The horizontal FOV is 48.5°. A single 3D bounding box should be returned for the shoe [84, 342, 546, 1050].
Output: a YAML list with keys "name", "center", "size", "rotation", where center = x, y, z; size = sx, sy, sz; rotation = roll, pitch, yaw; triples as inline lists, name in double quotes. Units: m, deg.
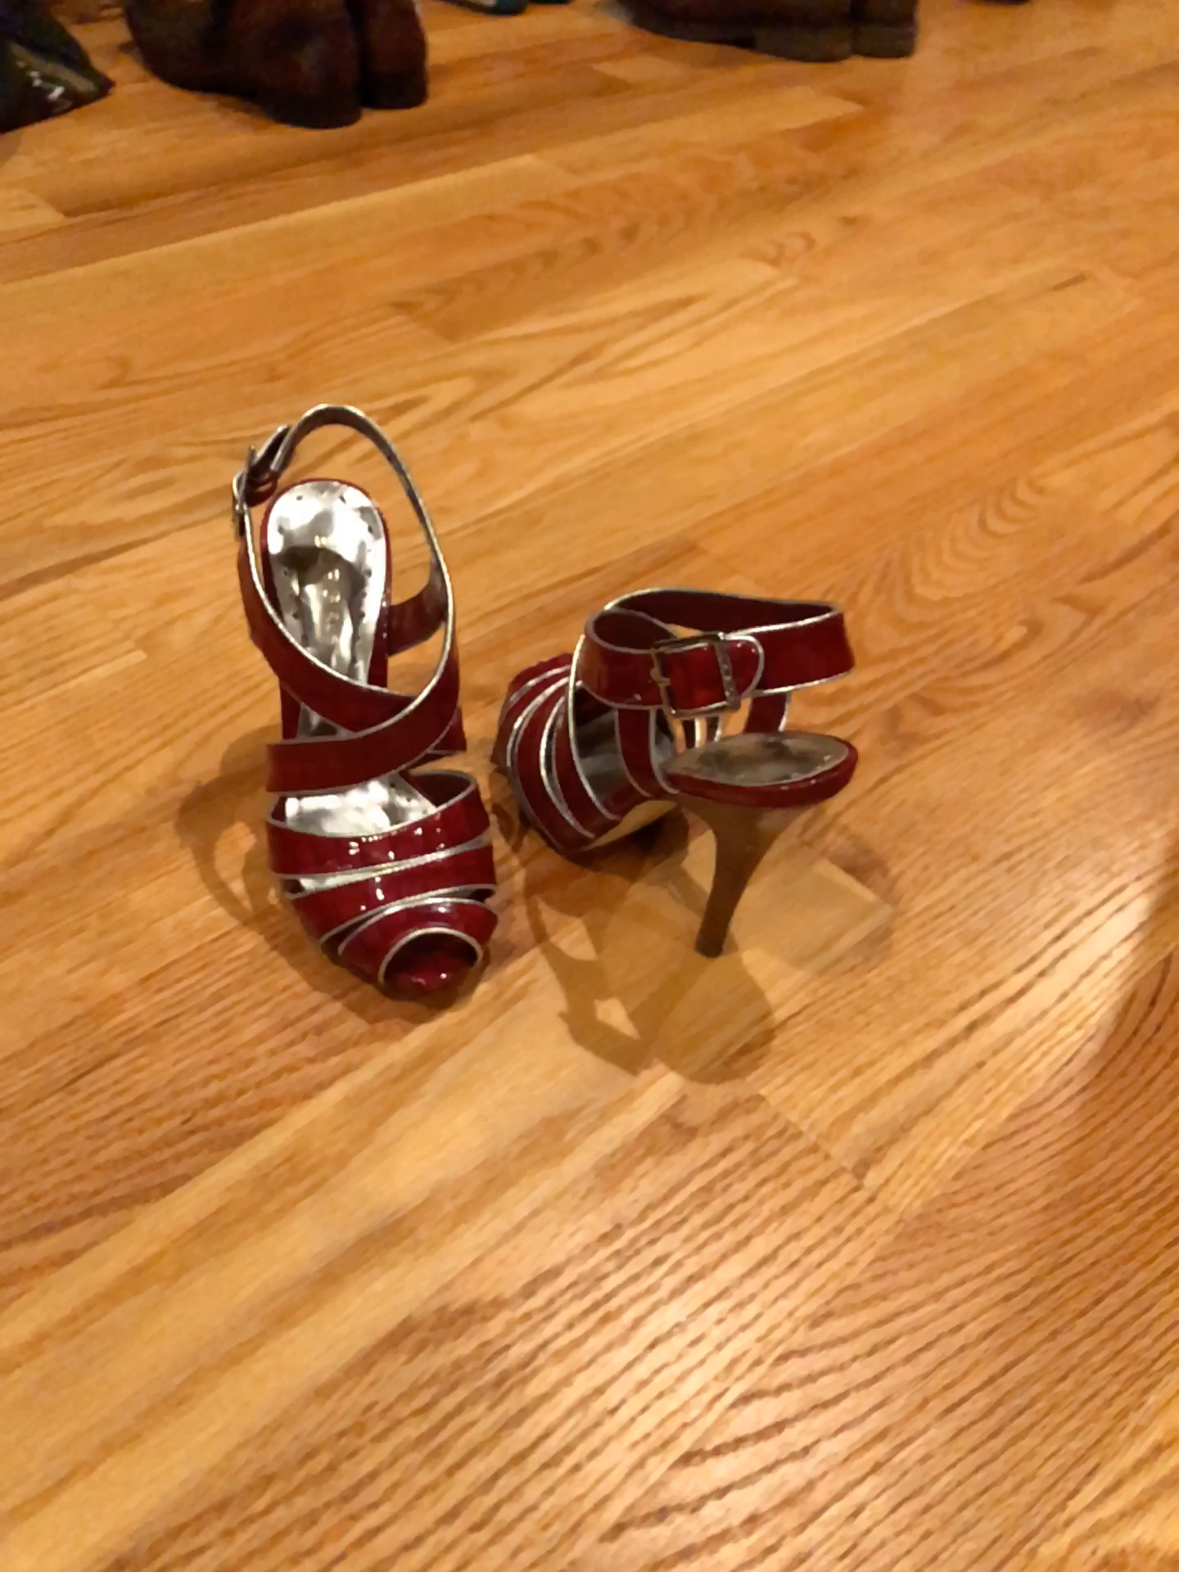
- name: "shoe"
  center: [-0.101, -0.040, 0.474]
  size: [0.092, 0.151, 0.199]
  rotation: [-16, 47, -21]

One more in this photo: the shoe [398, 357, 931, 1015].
- name: "shoe"
  center: [0.013, -0.045, 0.488]
  size: [0.092, 0.141, 0.194]
  rotation: [-19, 48, -23]
